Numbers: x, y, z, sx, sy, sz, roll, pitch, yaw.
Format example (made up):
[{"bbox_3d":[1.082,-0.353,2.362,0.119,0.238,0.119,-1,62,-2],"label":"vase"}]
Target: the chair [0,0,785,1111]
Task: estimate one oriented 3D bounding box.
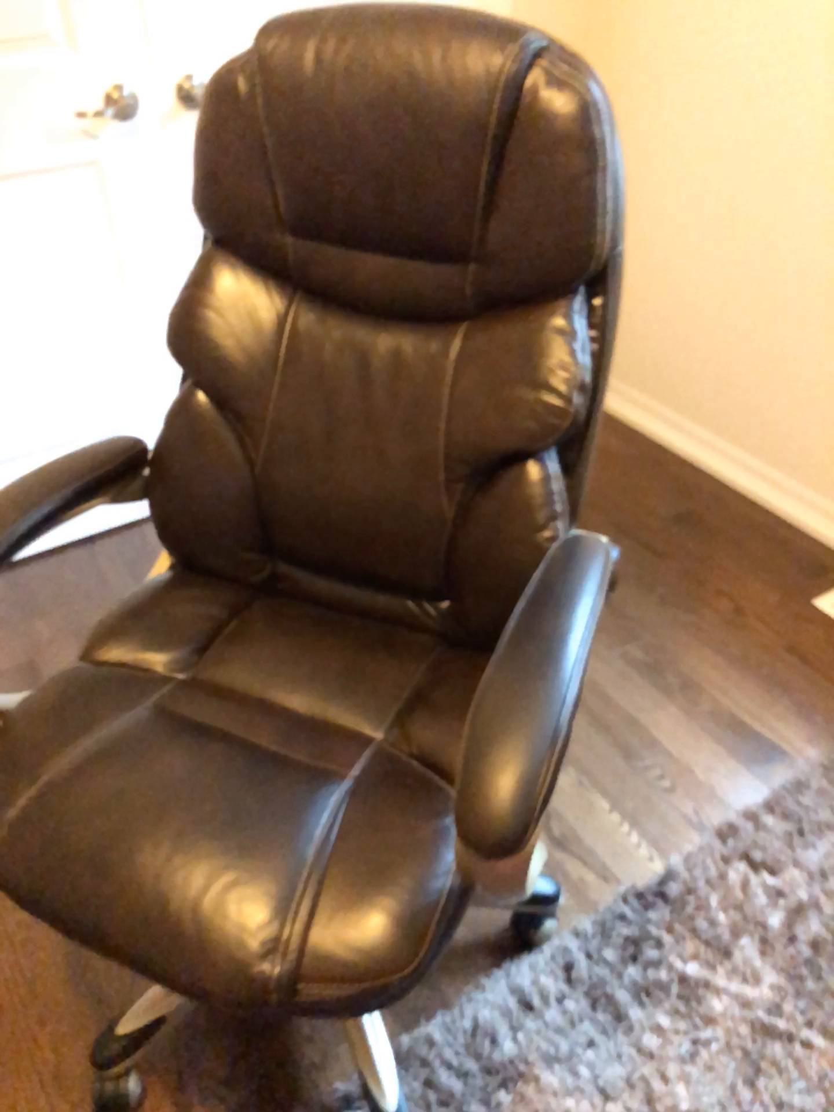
[{"bbox_3d":[-0.158,0.077,1.032,0.731,1.135,0.742,16,41,22],"label":"chair"}]
